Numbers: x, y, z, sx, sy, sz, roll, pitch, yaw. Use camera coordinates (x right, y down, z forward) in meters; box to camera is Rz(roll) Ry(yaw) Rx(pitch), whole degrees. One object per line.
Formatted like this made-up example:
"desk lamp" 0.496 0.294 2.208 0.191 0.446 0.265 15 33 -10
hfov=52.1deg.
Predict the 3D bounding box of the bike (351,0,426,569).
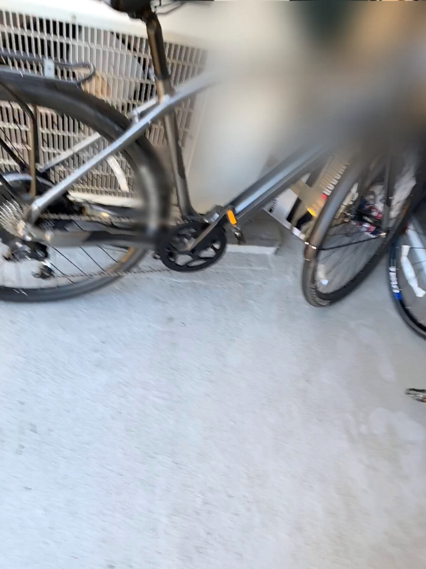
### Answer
"bike" 0.854 0.199 1.027 0.363 0.934 1.503 7 59 -15

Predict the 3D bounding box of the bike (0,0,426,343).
"bike" 0.031 -0.441 1.169 1.588 0.973 0.622 -4 58 -24
